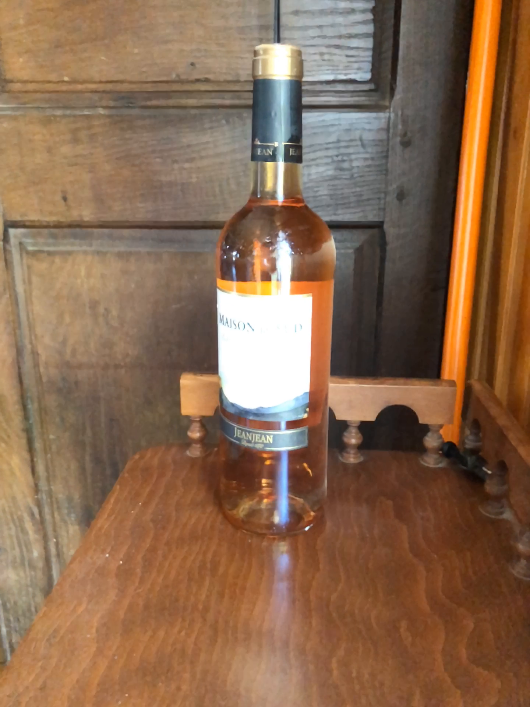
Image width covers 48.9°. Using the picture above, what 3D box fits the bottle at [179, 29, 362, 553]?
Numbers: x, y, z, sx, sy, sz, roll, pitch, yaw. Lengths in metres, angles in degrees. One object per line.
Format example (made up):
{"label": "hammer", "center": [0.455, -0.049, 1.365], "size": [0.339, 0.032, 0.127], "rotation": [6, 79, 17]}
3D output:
{"label": "bottle", "center": [0.007, -0.029, 0.361], "size": [0.080, 0.289, 0.070], "rotation": [7, 19, 20]}
